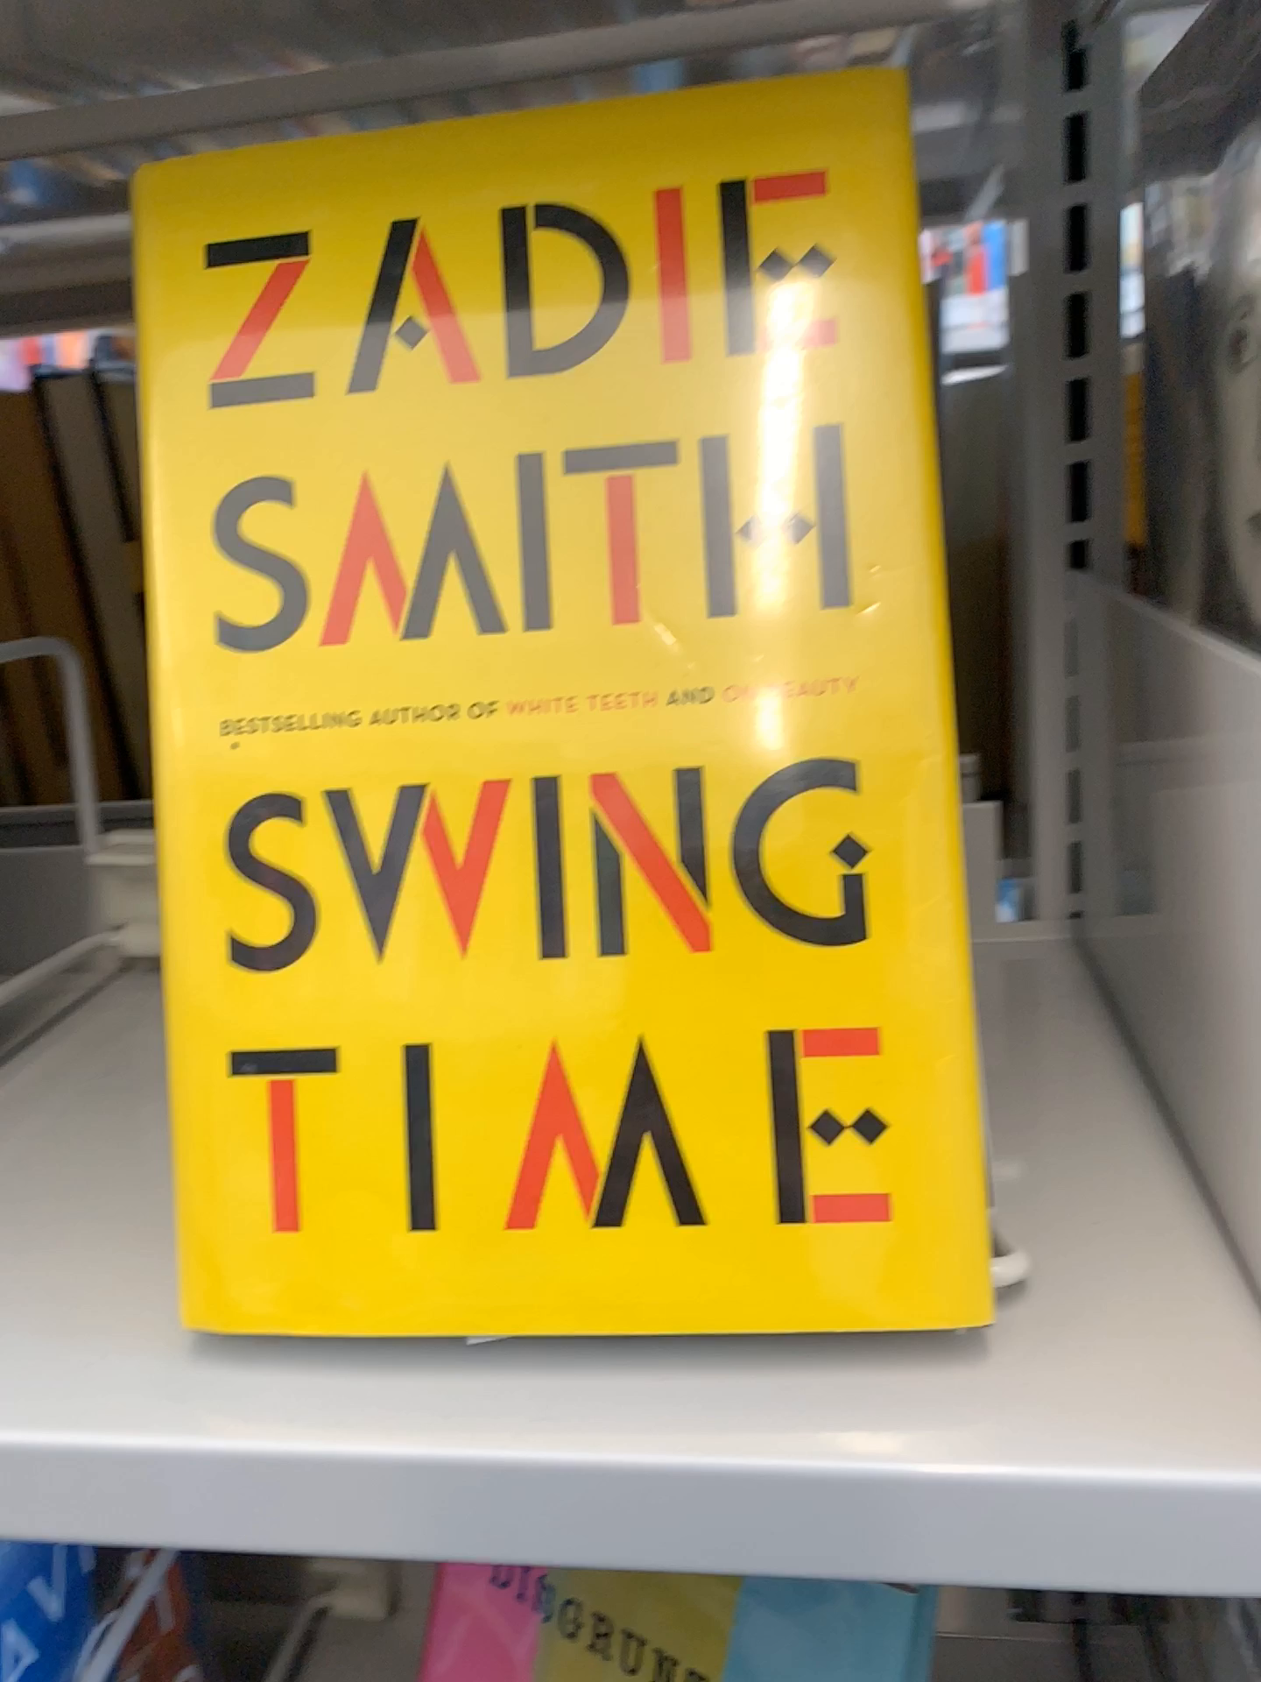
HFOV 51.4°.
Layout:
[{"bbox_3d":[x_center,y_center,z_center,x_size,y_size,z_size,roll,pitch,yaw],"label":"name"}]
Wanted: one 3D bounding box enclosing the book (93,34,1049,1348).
[{"bbox_3d":[-0.013,-0.025,0.272,0.168,0.233,0.060,-3,-3,7],"label":"book"}]
